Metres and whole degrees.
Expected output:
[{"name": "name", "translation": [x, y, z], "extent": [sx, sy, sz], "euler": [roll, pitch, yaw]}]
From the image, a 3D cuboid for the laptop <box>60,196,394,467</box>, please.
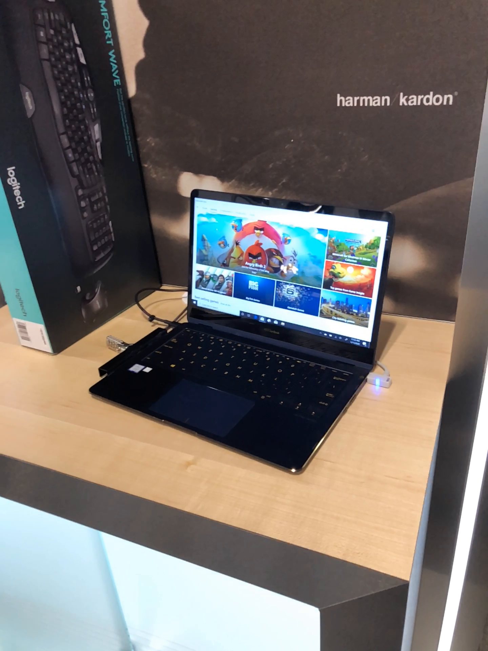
[{"name": "laptop", "translation": [-0.008, -0.022, 0.660], "extent": [0.292, 0.190, 0.248], "euler": [14, 32, 30]}]
